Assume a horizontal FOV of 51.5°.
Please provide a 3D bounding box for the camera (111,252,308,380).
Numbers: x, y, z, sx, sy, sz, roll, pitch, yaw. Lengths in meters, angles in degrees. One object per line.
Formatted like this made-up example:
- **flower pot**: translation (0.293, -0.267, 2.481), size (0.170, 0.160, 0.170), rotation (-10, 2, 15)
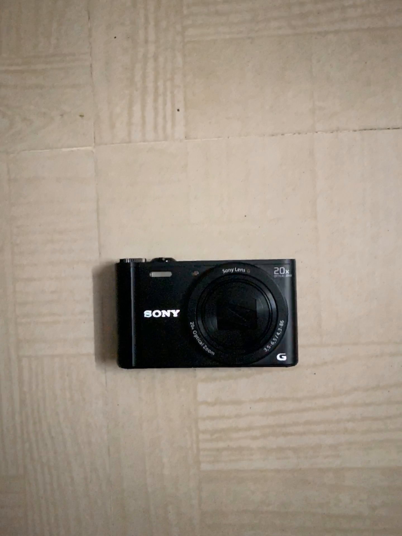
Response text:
- **camera**: translation (0.004, 0.023, 0.211), size (0.092, 0.025, 0.060), rotation (-1, 92, 4)
